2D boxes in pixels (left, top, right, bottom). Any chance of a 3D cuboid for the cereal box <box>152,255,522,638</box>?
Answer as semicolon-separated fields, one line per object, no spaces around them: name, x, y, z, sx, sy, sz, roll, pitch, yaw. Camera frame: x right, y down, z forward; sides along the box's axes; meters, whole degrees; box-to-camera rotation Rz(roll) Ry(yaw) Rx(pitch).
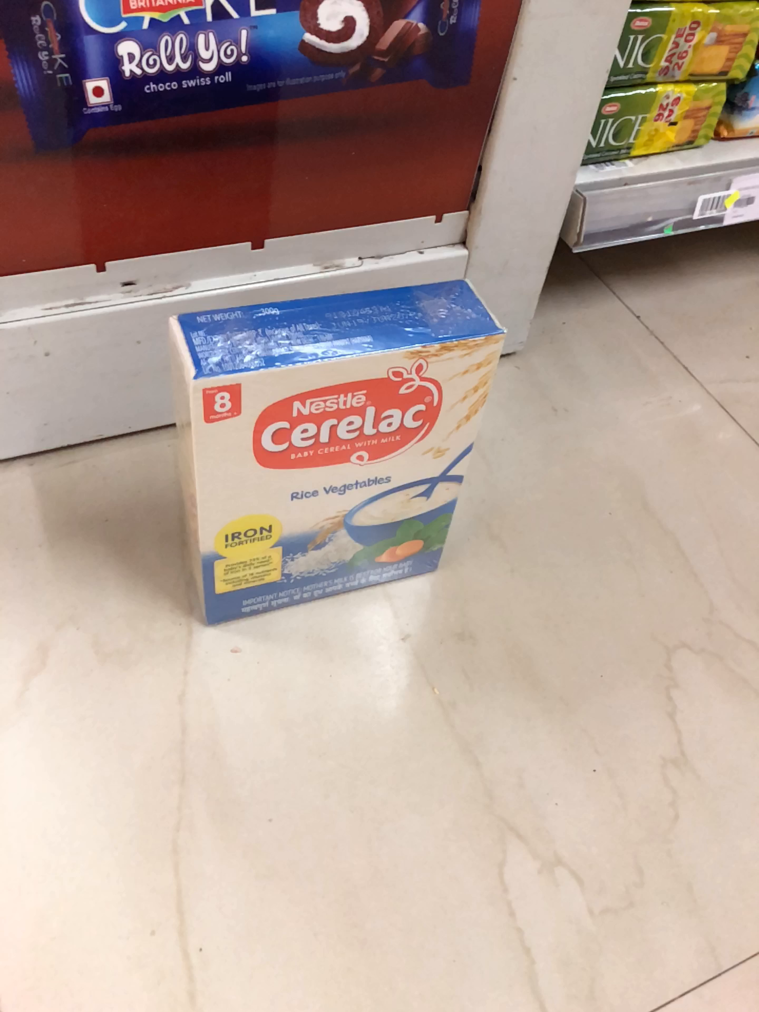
cereal box;-0.030;-0.026;0.460;0.160;0.199;0.060;-13;53;-19
